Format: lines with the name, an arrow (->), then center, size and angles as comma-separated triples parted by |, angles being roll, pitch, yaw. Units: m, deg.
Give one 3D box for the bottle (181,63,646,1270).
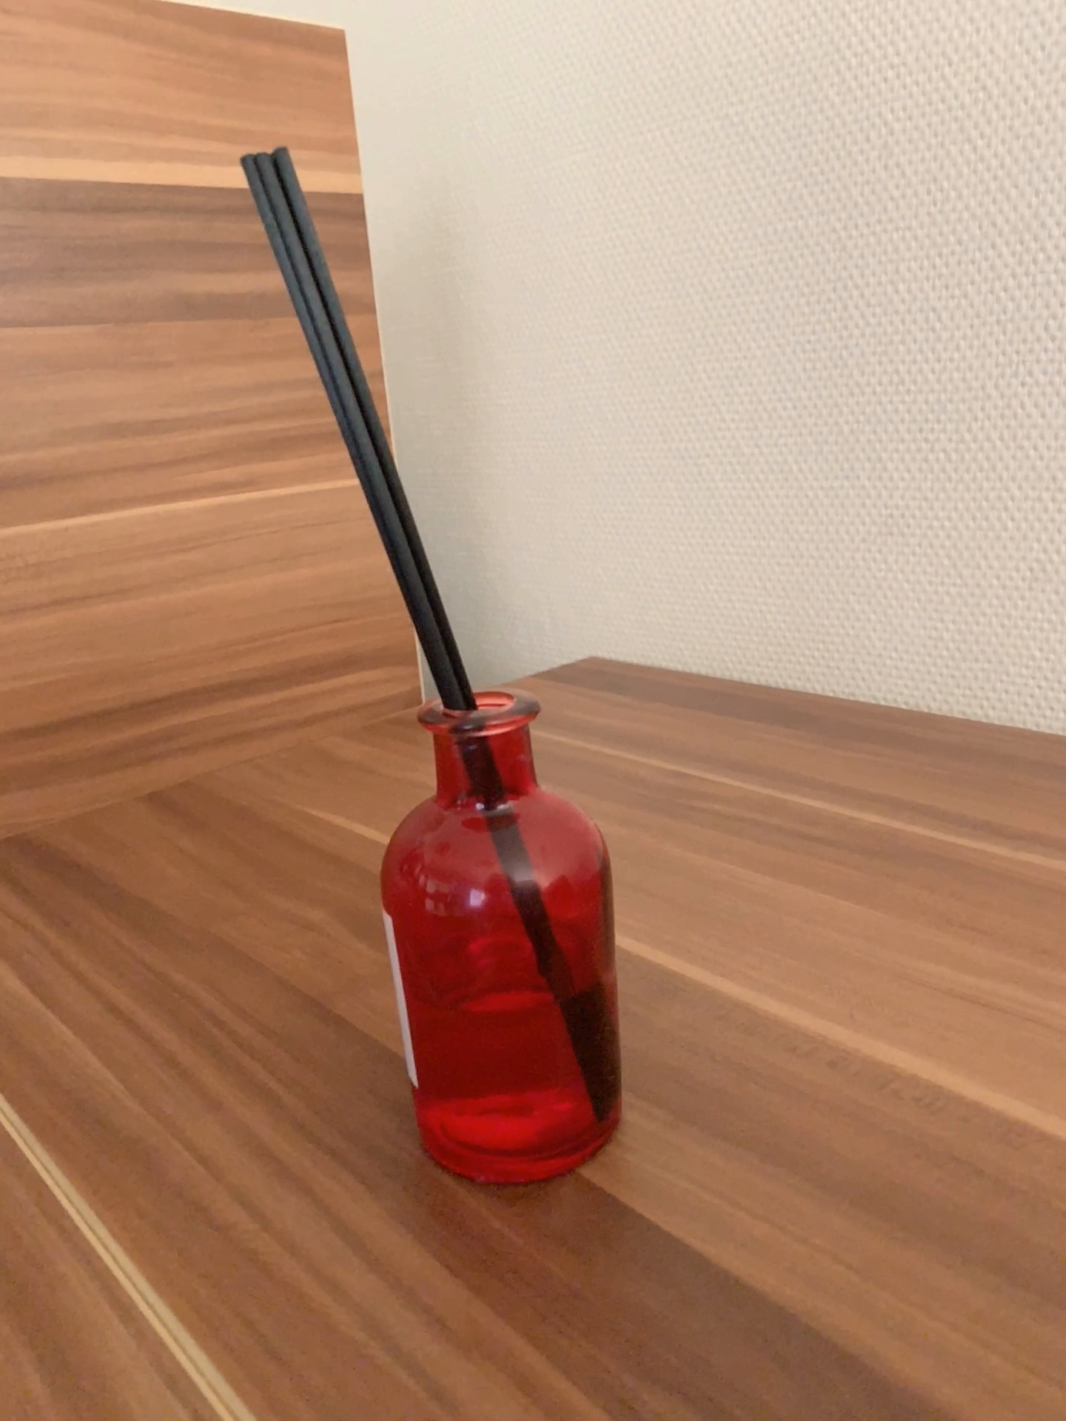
bottle -> -0.020, -0.002, 0.247 | 0.060, 0.239, 0.050 | -16, 19, -34
